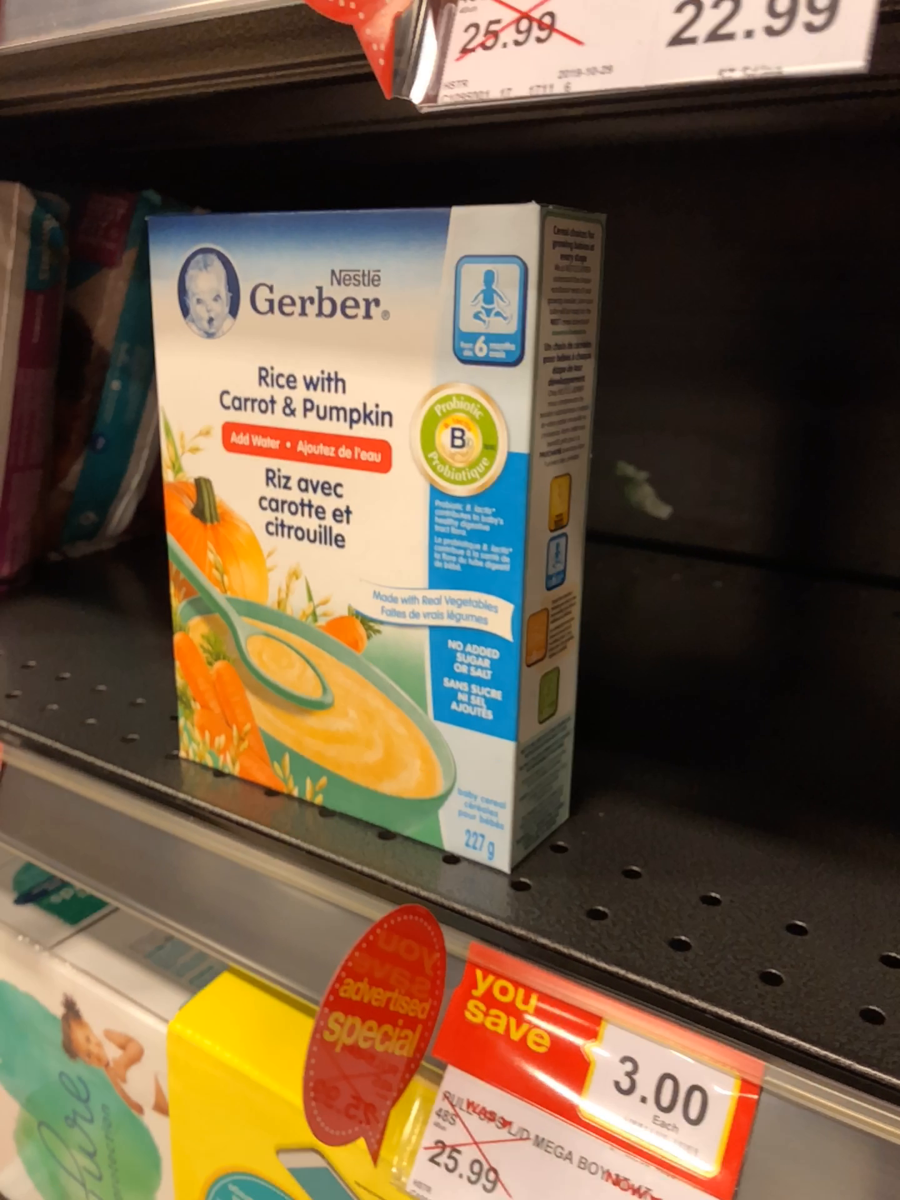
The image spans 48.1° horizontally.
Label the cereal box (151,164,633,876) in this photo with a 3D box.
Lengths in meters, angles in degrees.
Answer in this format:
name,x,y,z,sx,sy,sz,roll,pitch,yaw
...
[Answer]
name,x,y,z,sx,sy,sz,roll,pitch,yaw
cereal box,-0.024,-0.030,0.332,0.150,0.199,0.040,11,20,31
